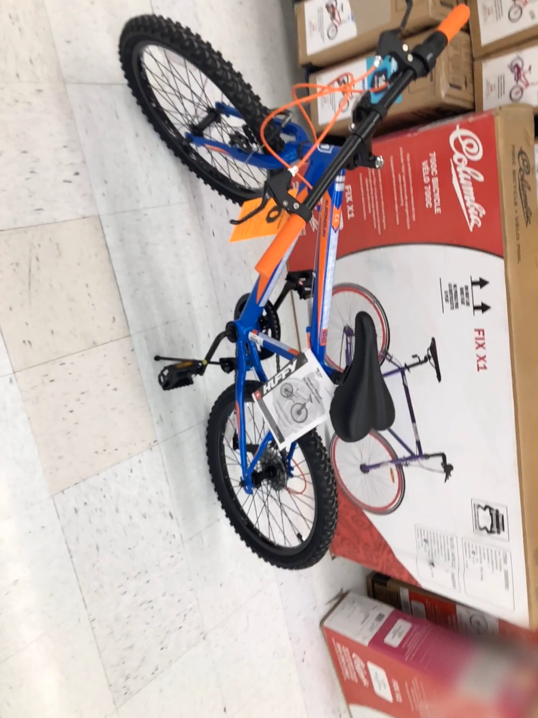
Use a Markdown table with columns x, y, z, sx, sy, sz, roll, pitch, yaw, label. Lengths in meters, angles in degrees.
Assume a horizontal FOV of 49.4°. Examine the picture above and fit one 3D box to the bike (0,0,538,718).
| x | y | z | sx | sy | sz | roll | pitch | yaw | label |
| --- | --- | --- | --- | --- | --- | --- | --- | --- | --- |
| -0.096 | -0.086 | 1.316 | 0.586 | 0.869 | 1.315 | -24 | 104 | -42 | bike |
